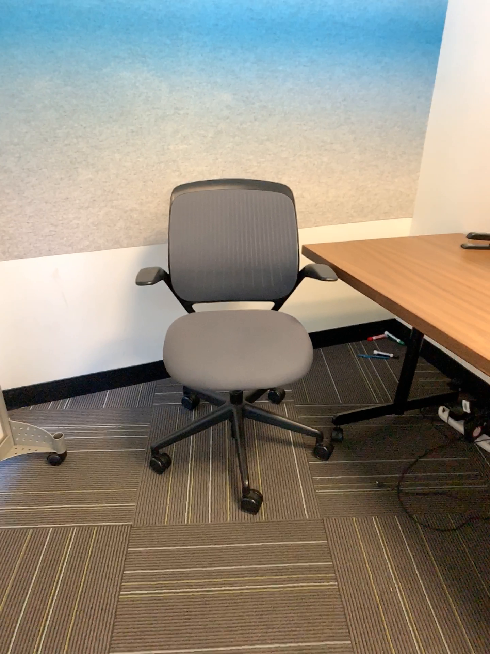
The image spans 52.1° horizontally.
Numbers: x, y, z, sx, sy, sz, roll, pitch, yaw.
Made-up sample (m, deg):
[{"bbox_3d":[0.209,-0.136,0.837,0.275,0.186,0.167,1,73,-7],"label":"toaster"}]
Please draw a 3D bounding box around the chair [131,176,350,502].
[{"bbox_3d":[-0.025,0.024,1.665,0.540,0.935,0.533,0,24,-2],"label":"chair"}]
